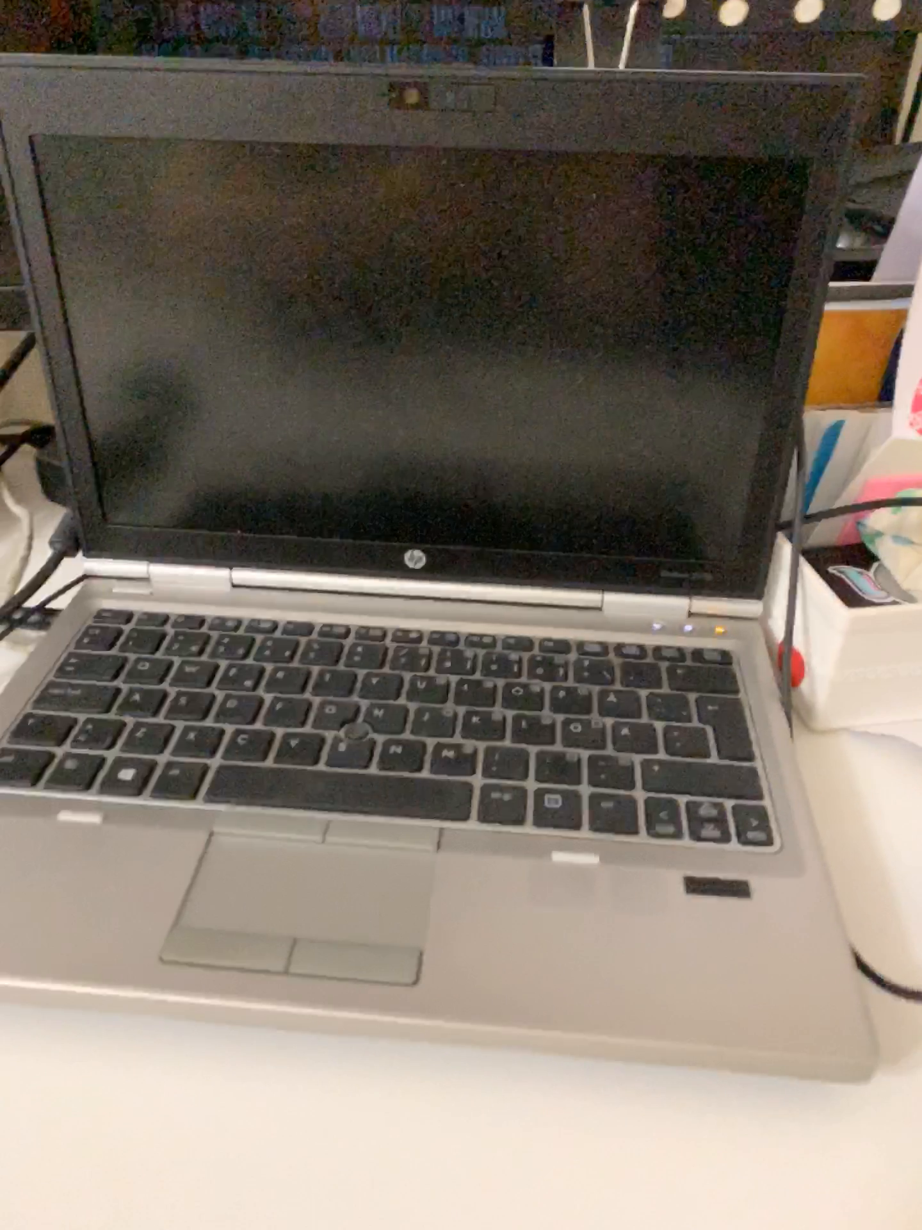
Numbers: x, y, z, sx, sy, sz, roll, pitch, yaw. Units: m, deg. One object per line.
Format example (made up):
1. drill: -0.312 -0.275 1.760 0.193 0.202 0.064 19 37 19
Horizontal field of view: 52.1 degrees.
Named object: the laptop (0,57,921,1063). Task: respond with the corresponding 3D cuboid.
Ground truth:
1. laptop: -0.028 -0.042 0.299 0.303 0.204 0.225 4 35 4
